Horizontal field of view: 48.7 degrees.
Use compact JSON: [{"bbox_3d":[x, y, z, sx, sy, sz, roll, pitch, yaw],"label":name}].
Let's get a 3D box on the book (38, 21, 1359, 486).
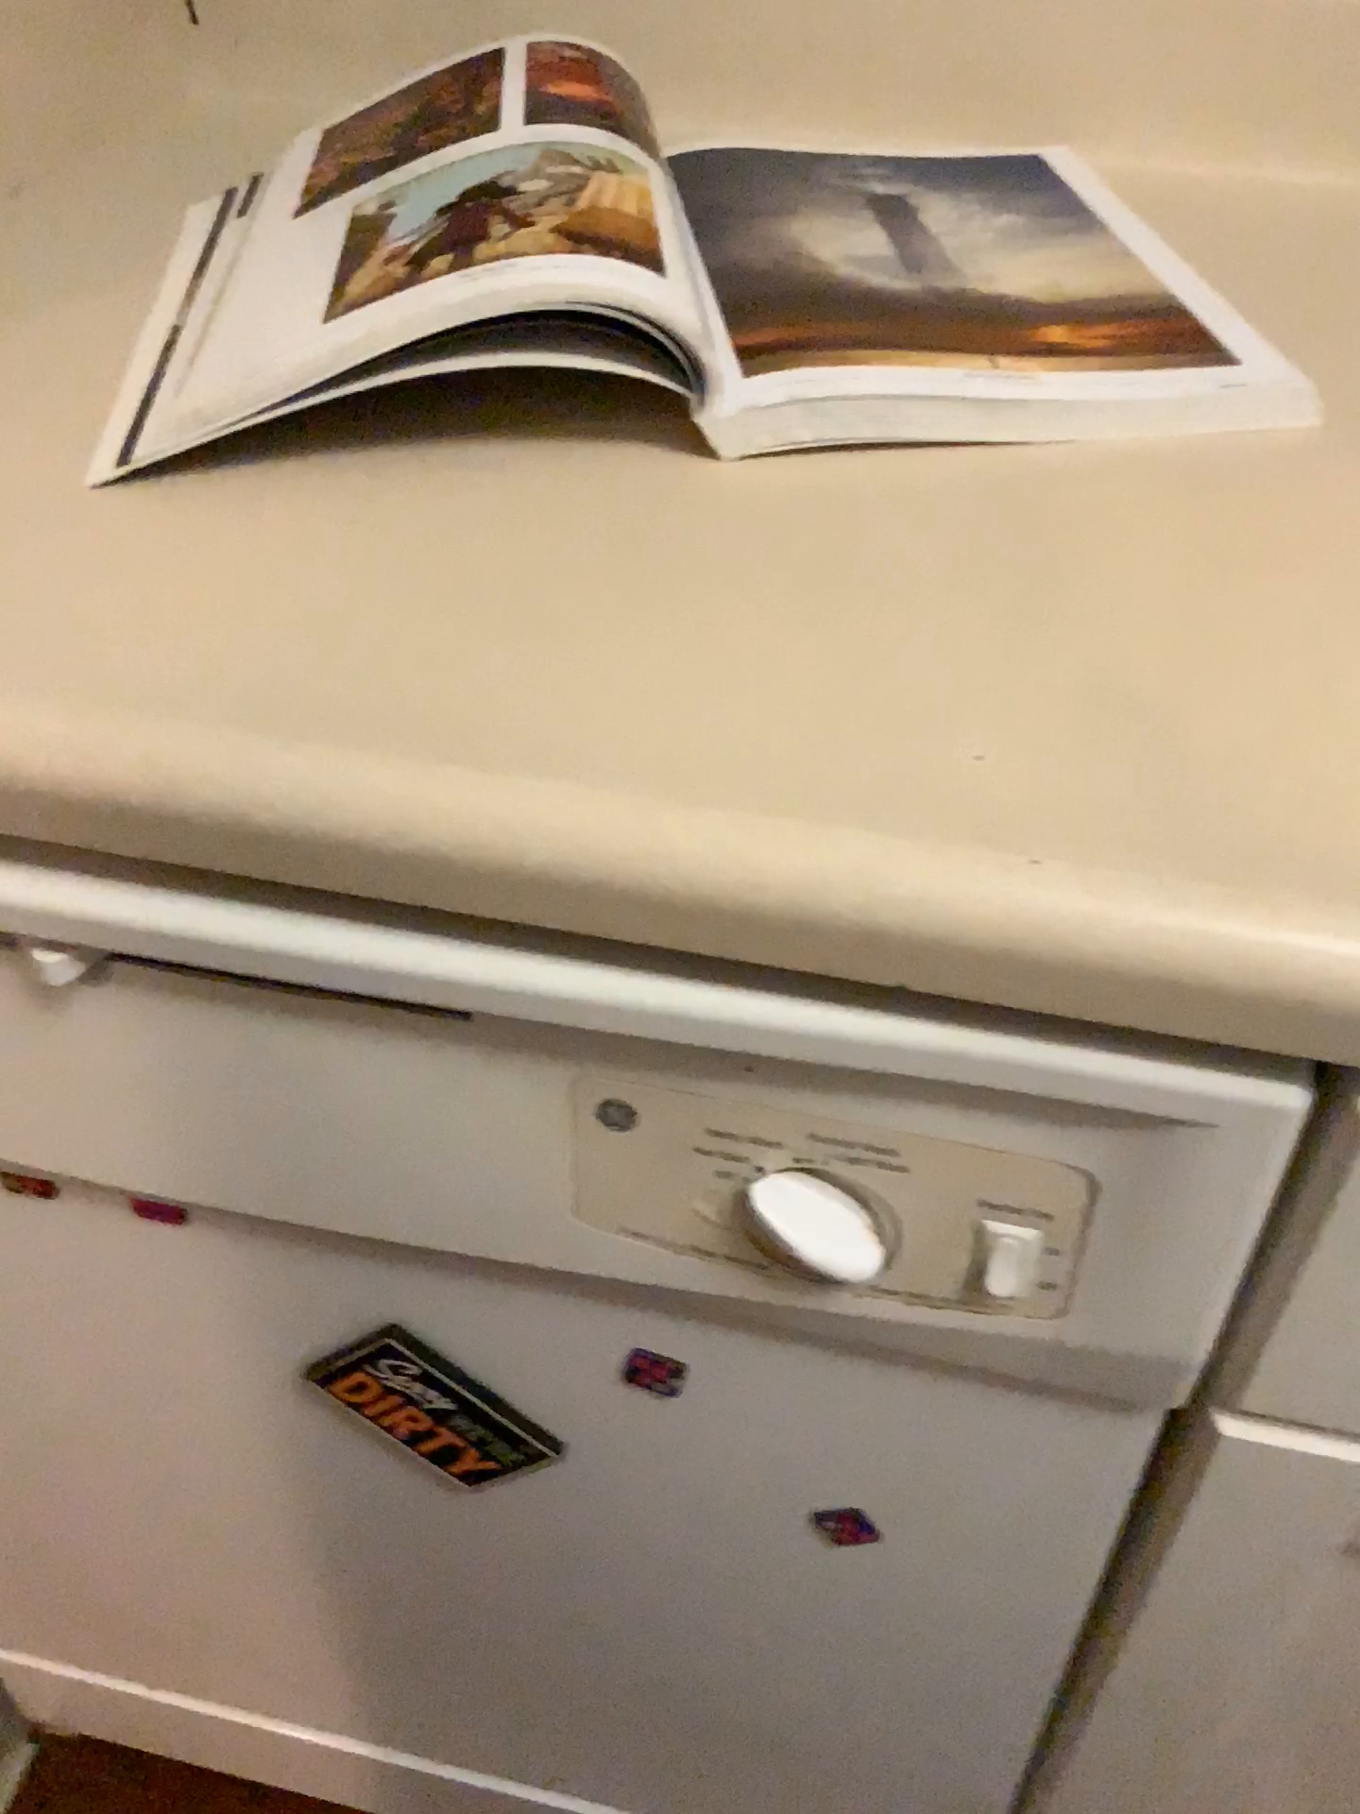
[{"bbox_3d":[0.006,-0.291,0.628,0.450,0.070,0.320,-4,42,-5],"label":"book"}]
